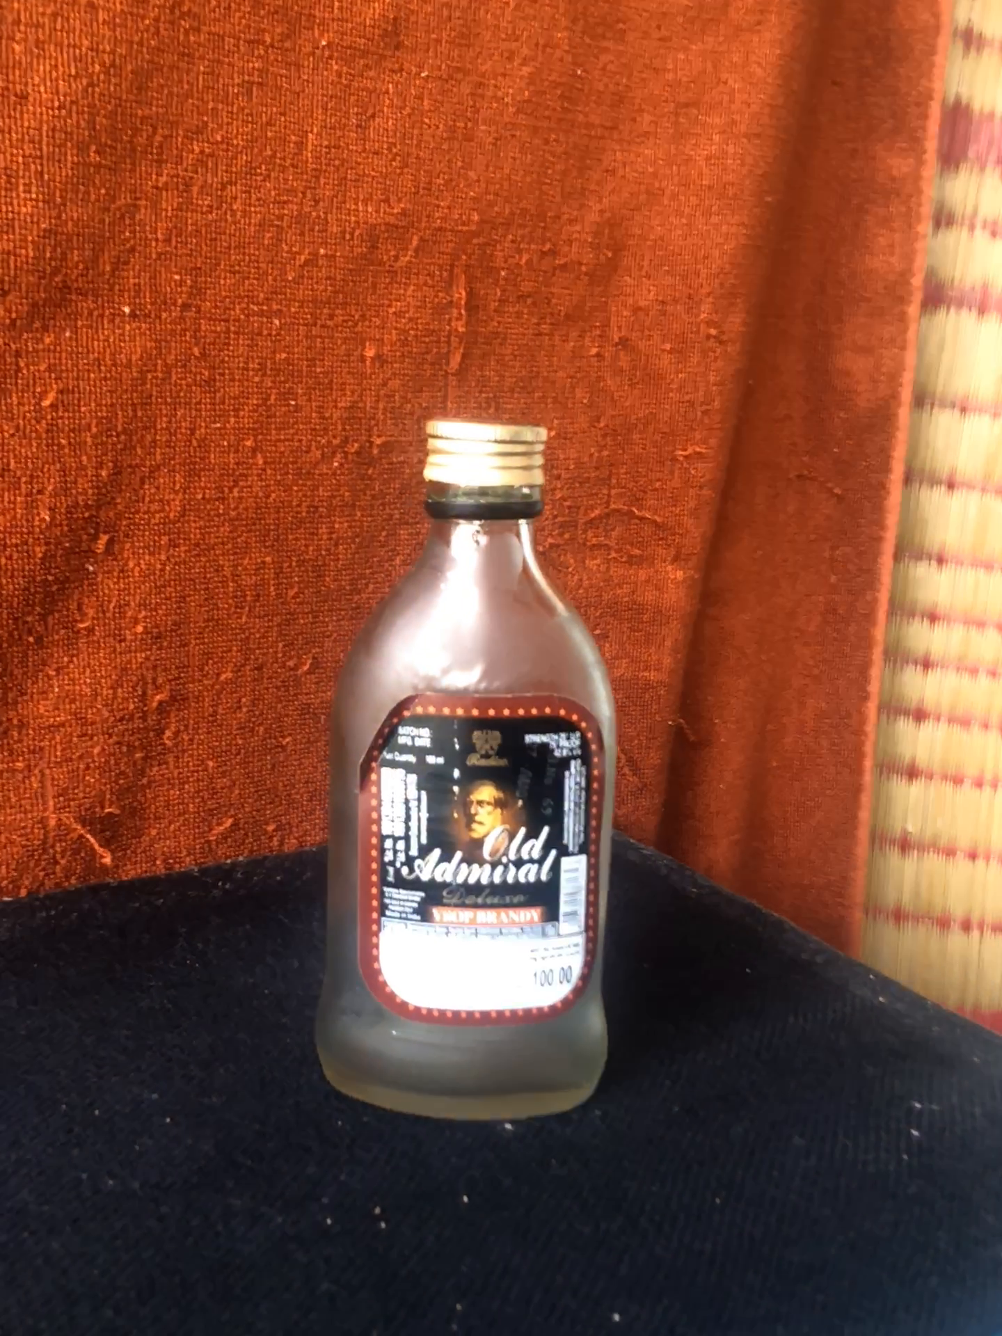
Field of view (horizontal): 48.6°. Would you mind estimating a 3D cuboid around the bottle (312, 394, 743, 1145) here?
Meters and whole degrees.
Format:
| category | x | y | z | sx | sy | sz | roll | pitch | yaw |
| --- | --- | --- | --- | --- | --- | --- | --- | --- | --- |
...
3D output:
| category | x | y | z | sx | sy | sz | roll | pitch | yaw |
| --- | --- | --- | --- | --- | --- | --- | --- | --- | --- |
| bottle | 0.001 | 0.021 | 0.242 | 0.070 | 0.150 | 0.050 | 5 | 13 | -4 |
